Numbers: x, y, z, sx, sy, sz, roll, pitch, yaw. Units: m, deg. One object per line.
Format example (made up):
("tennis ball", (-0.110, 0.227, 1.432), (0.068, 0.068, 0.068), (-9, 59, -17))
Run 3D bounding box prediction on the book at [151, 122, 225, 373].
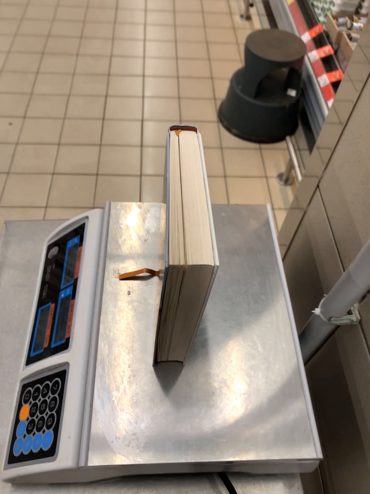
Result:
("book", (-0.007, 0.012, 0.360), (0.037, 0.186, 0.137), (2, 55, -7))
